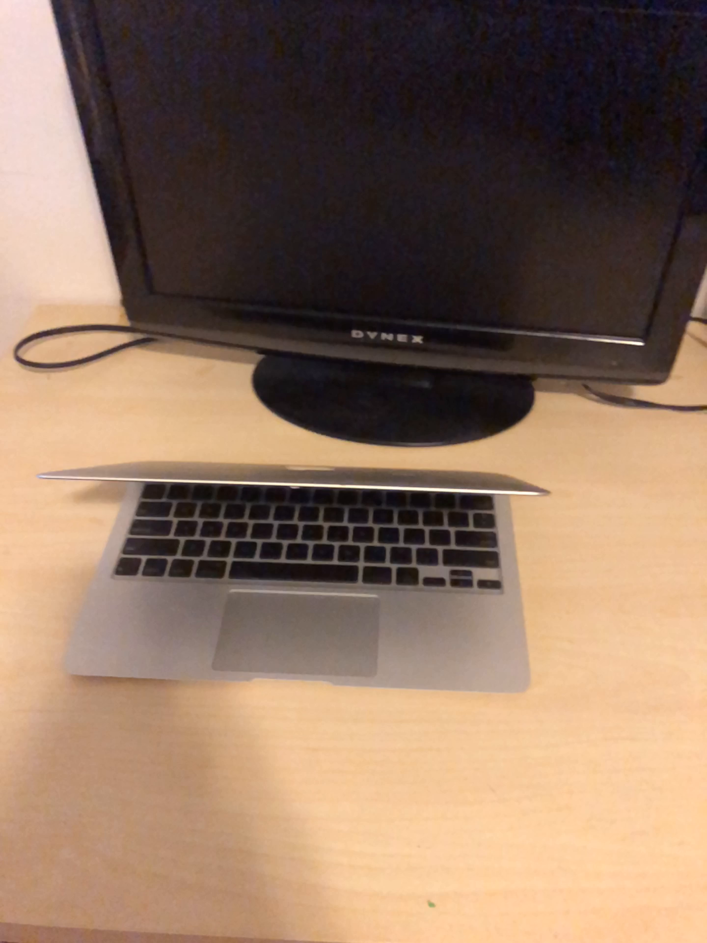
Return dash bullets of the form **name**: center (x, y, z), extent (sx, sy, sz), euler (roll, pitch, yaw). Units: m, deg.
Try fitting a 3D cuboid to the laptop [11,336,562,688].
- **laptop**: center (-0.031, 0.019, 0.516), extent (0.287, 0.127, 0.190), euler (2, 42, 3)
